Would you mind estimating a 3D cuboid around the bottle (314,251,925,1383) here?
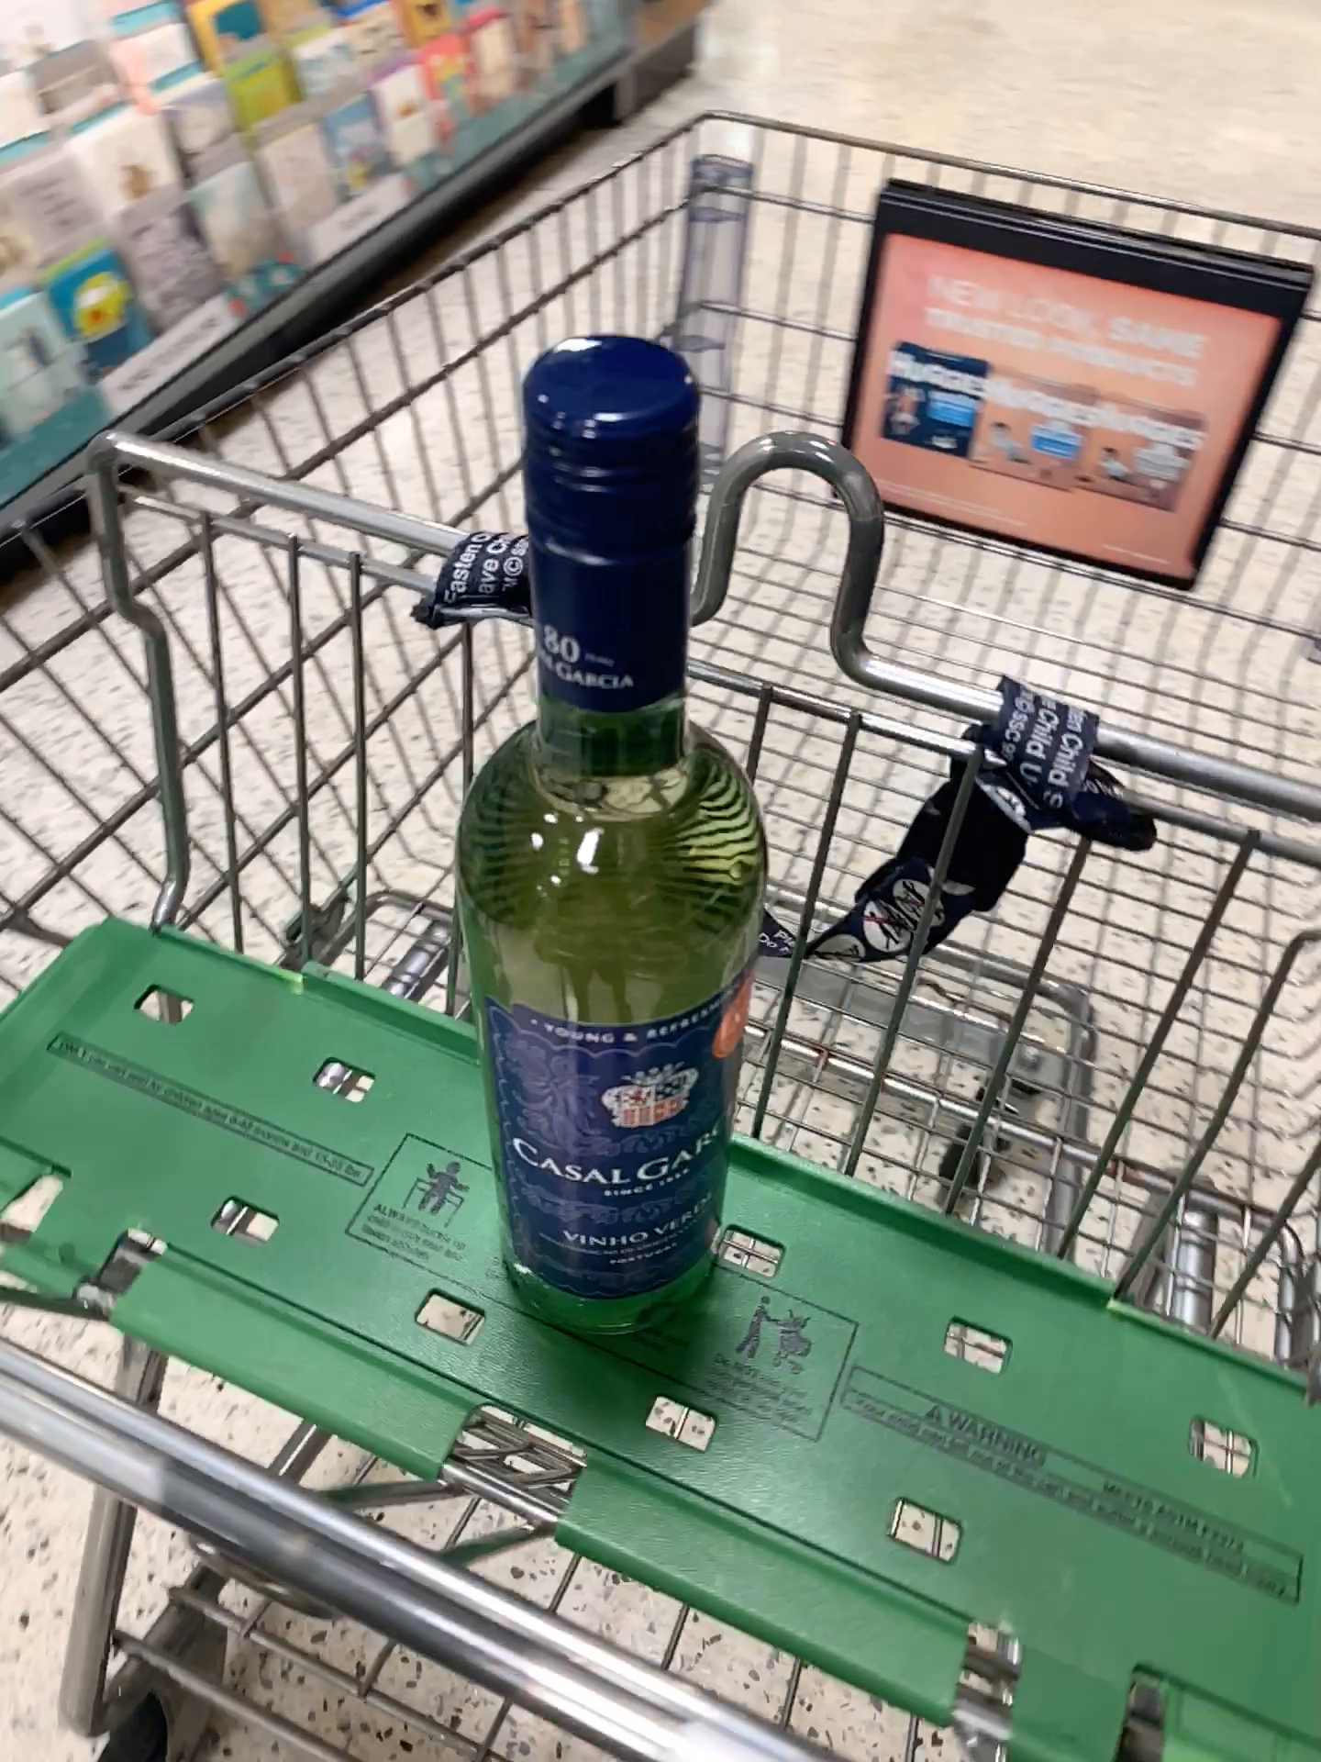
[{"bbox_3d":[-0.015,0.016,0.334,0.080,0.297,0.081,1,49,-1],"label":"bottle"}]
